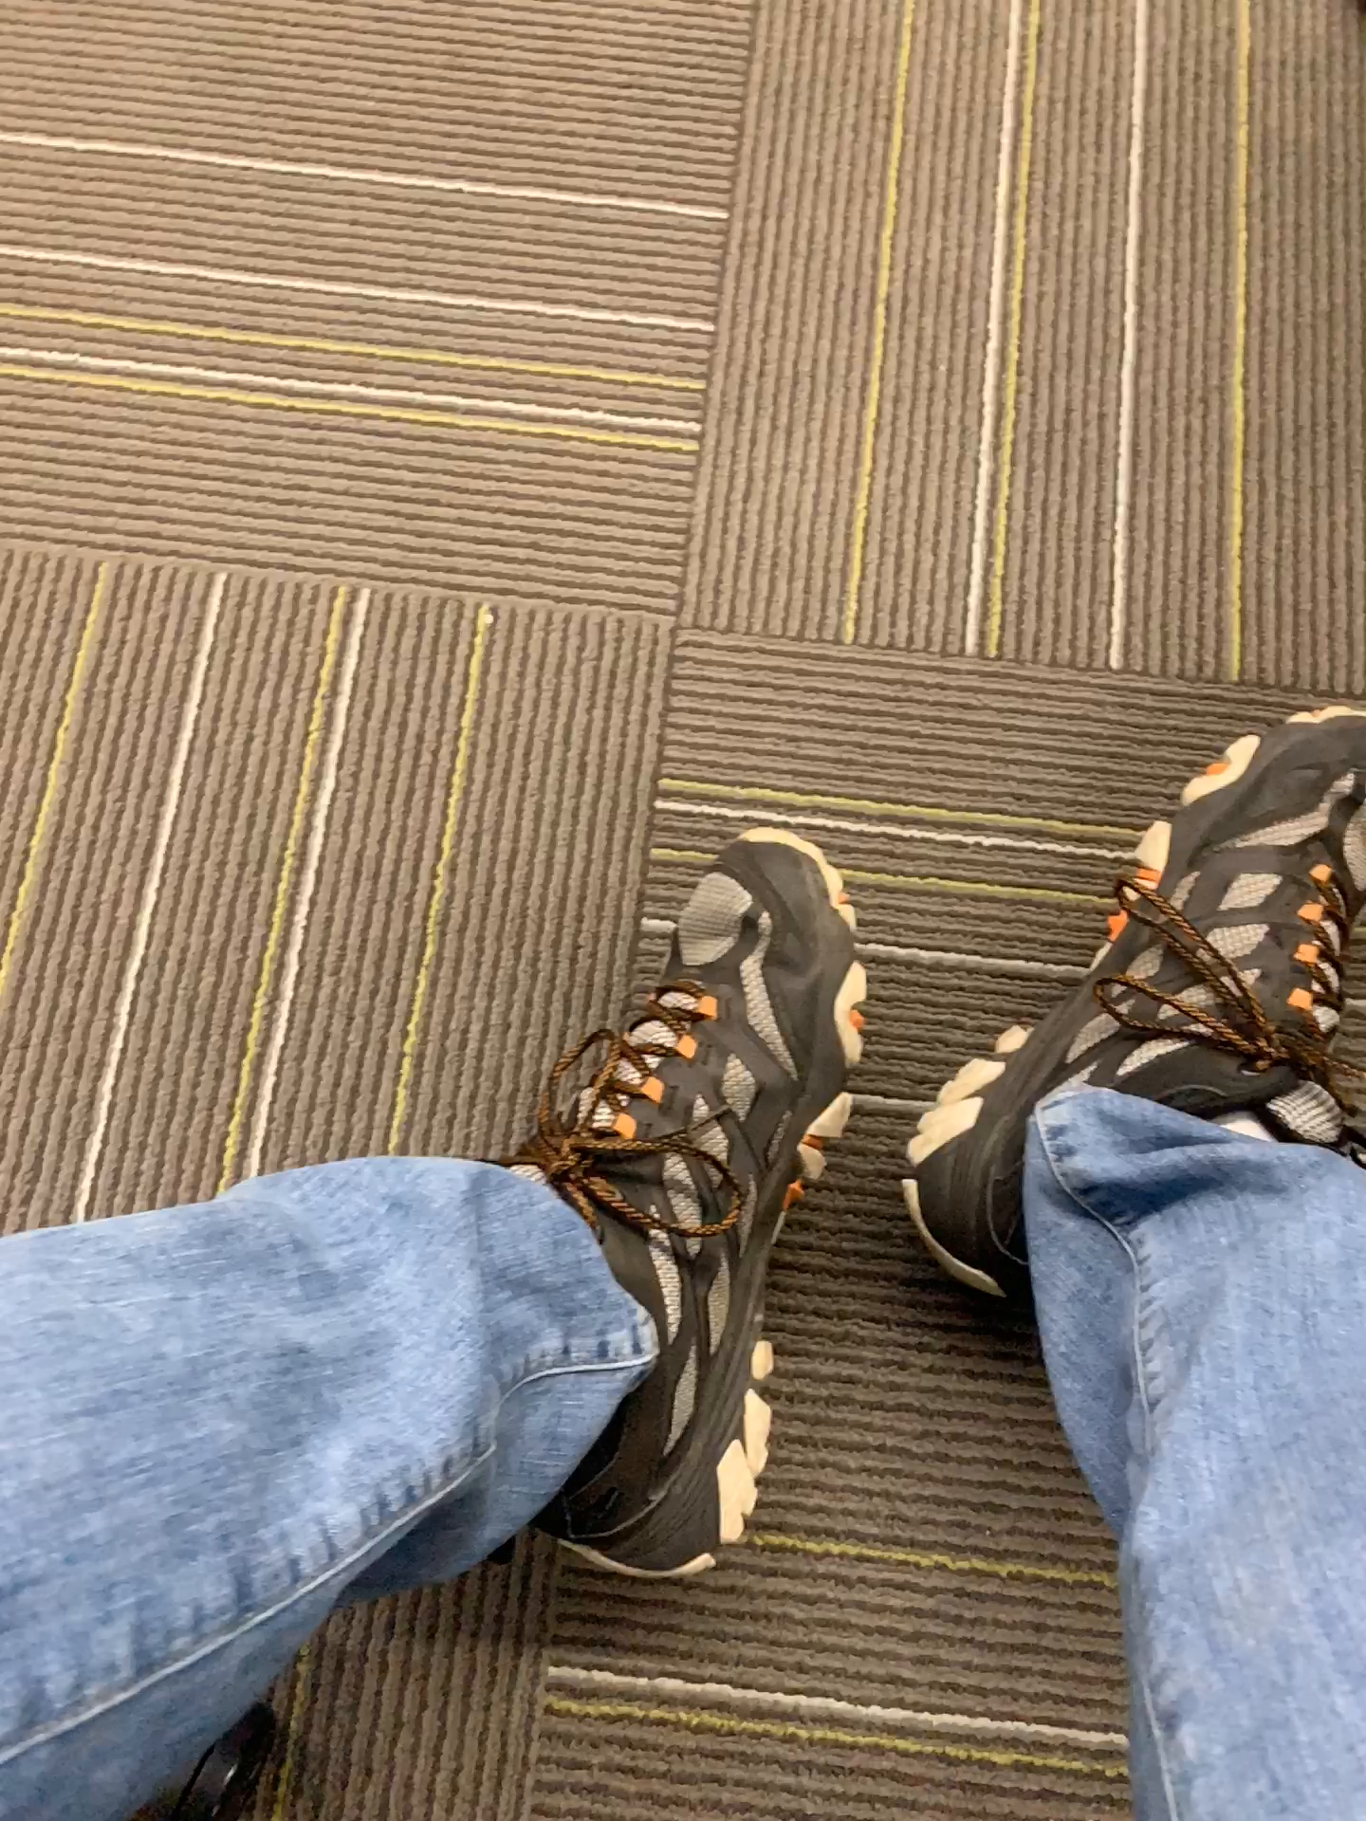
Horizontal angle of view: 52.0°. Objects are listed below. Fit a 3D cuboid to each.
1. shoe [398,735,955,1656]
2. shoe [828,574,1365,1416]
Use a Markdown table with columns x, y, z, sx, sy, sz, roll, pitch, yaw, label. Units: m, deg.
| x | y | z | sx | sy | sz | roll | pitch | yaw | label |
| --- | --- | --- | --- | --- | --- | --- | --- | --- | --- |
| 0.000 | 0.107 | 0.580 | 0.127 | 0.119 | 0.325 | 16 | 80 | -37 | shoe |
| 0.225 | 0.032 | 0.601 | 0.119 | 0.119 | 0.325 | 32 | 82 | 43 | shoe |
